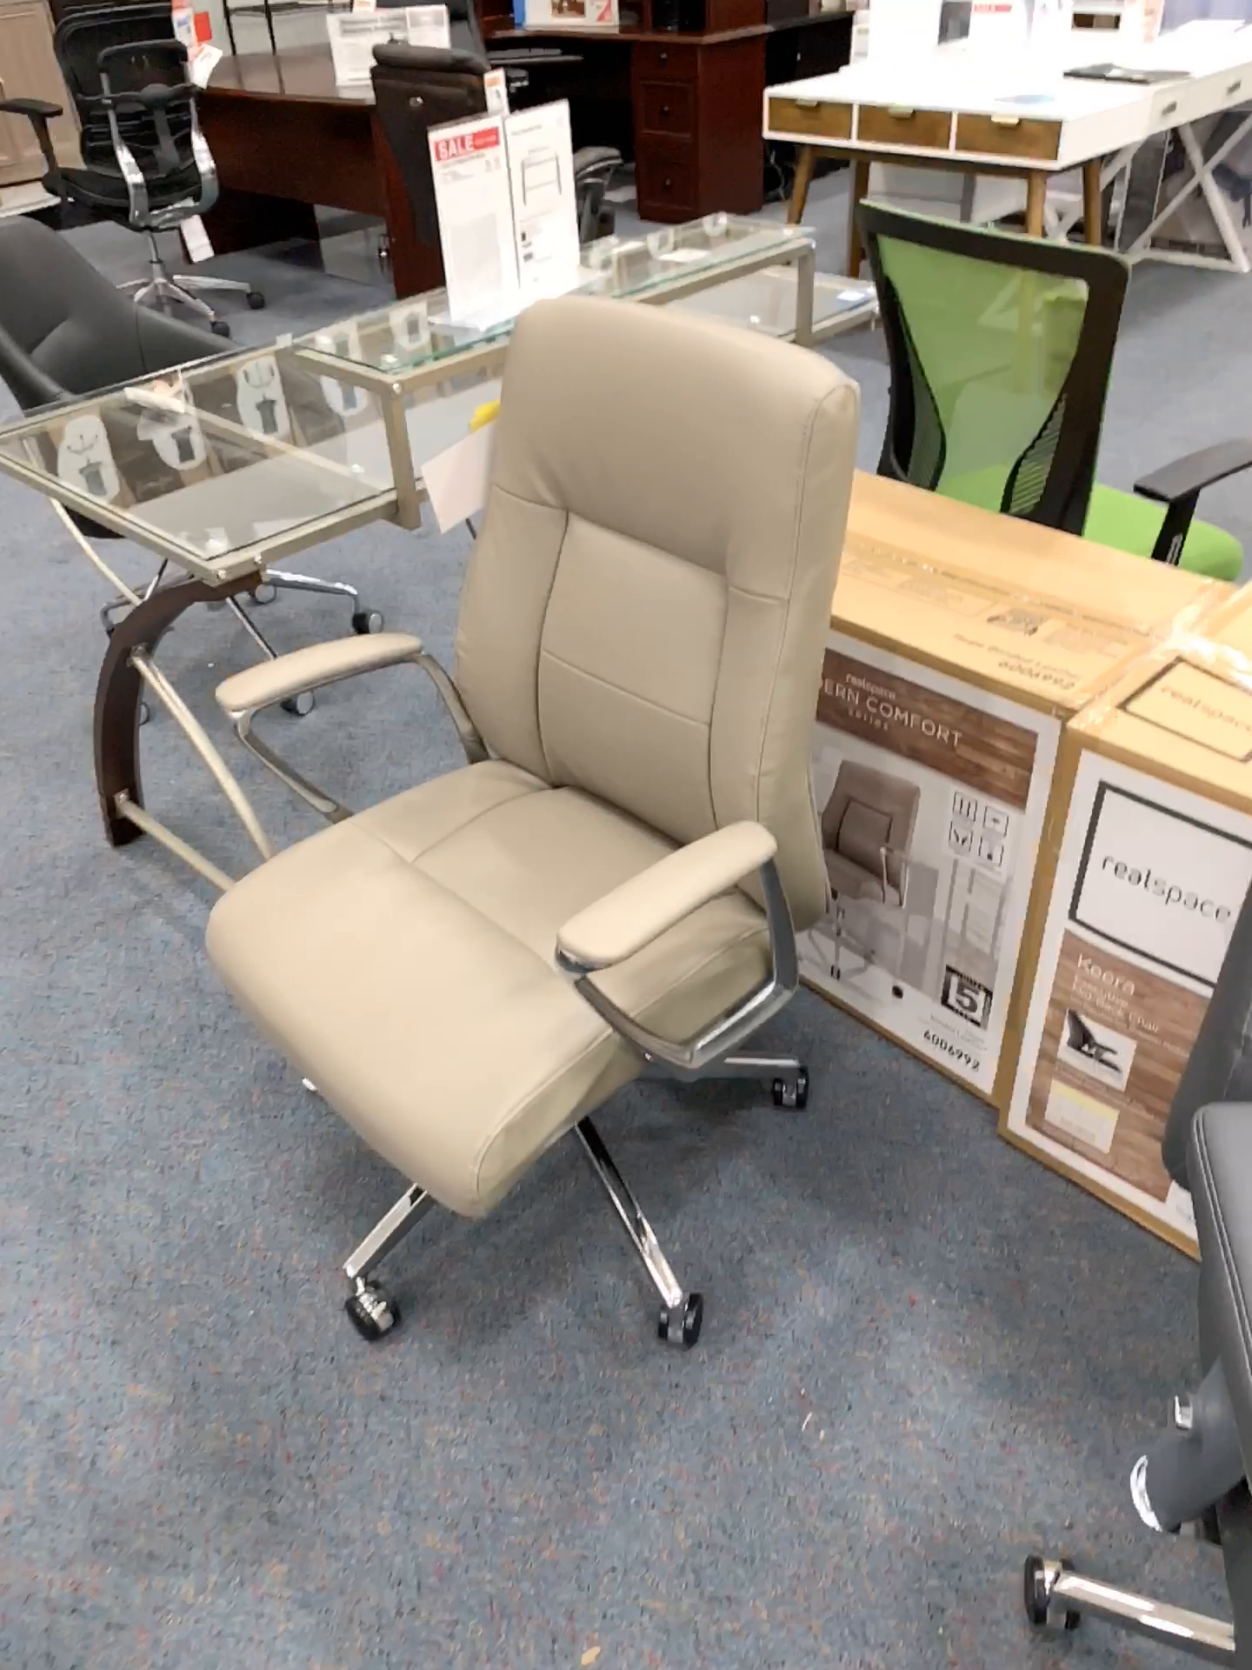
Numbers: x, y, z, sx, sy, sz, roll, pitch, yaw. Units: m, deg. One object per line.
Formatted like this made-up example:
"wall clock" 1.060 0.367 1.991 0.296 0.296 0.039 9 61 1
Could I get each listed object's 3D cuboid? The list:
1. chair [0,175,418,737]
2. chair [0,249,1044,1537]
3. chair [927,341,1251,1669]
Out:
"chair" -0.940 -0.775 2.606 0.754 0.856 0.765 2 37 7
"chair" -0.124 0.011 1.356 0.675 0.956 0.694 -30 44 -31
"chair" 0.681 0.382 0.774 0.812 1.055 0.818 7 38 14
